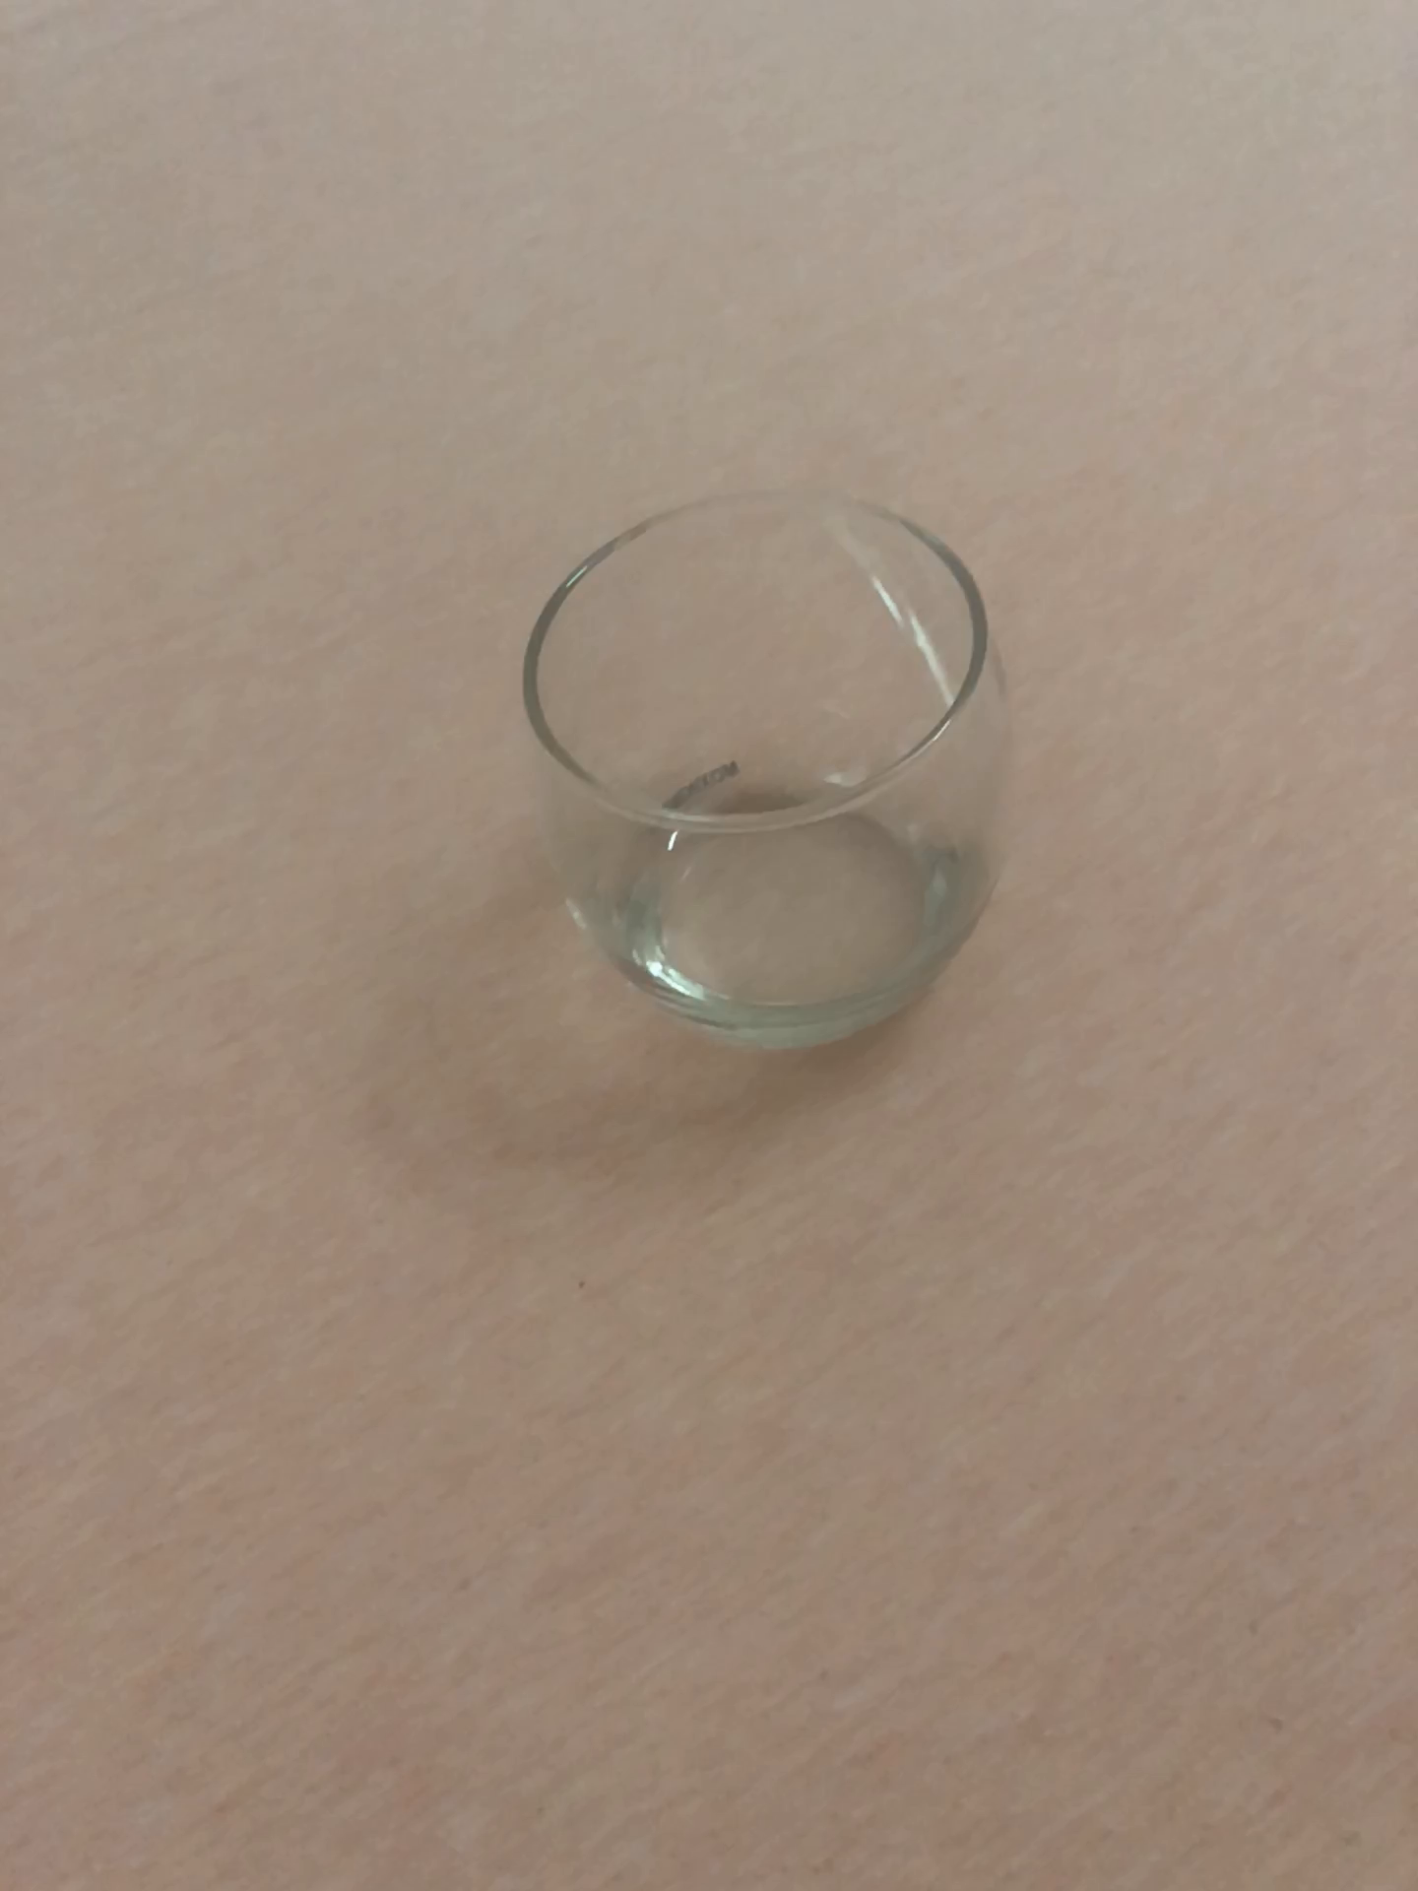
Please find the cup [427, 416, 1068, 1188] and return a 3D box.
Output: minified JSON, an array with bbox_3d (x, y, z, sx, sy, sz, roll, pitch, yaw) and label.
[{"bbox_3d":[0.009,-0.027,0.322,0.090,0.100,0.090,-5,54,6],"label":"cup"}]
